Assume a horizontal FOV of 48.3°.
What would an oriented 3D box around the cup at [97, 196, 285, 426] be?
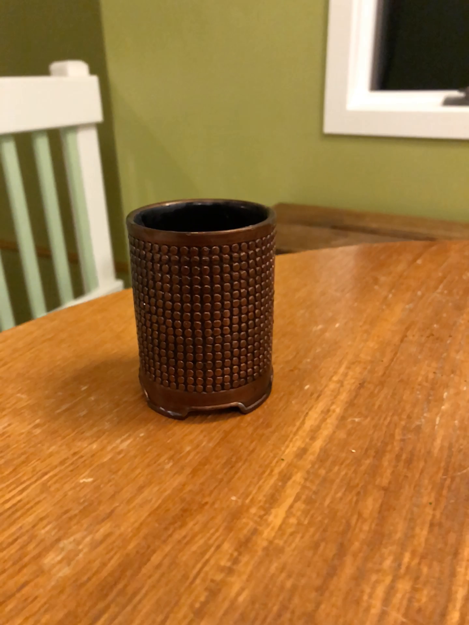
[{"bbox_3d":[-0.016,-0.005,0.277,0.077,0.097,0.073,-1,23,0],"label":"cup"}]
